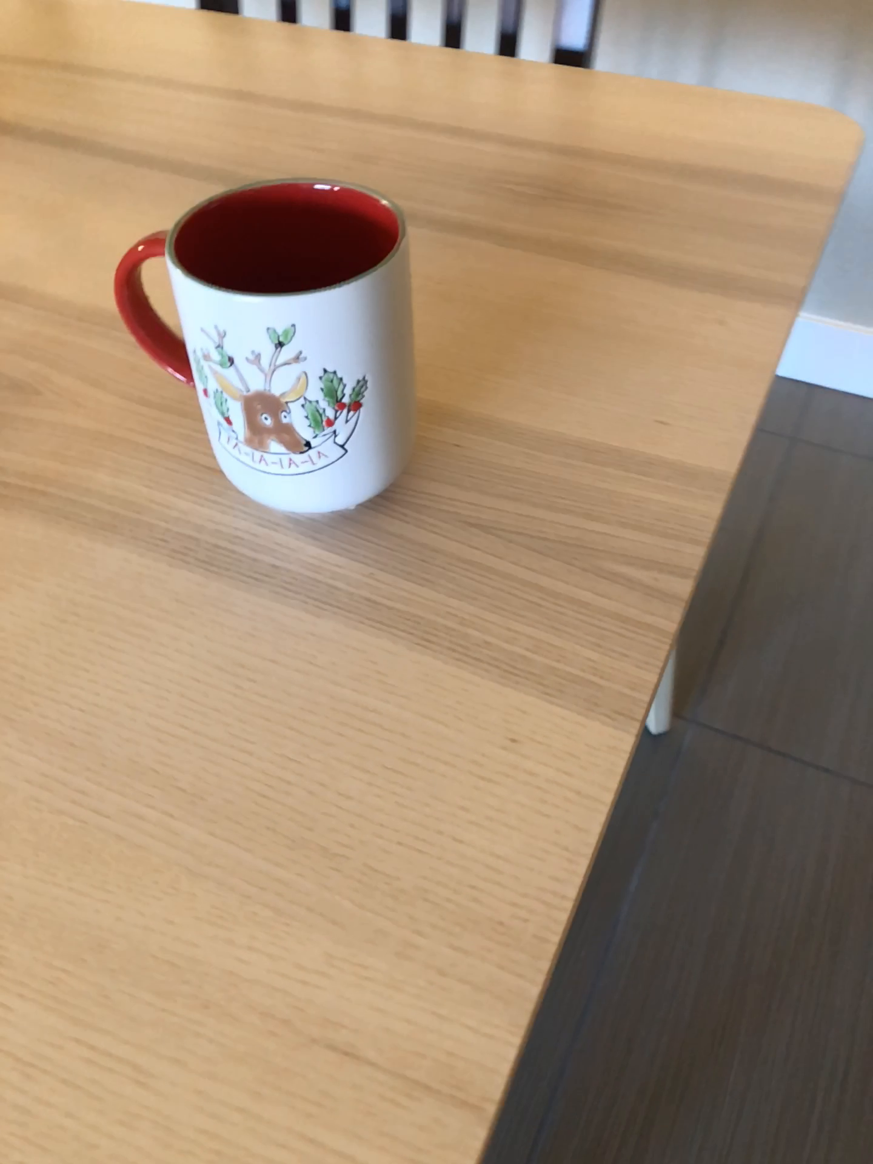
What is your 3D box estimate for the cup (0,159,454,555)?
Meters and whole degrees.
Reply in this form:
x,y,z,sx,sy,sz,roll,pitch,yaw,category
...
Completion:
x,y,z,sx,sy,sz,roll,pitch,yaw,category
-0.075,-0.095,0.397,0.140,0.100,0.100,13,48,13,cup
